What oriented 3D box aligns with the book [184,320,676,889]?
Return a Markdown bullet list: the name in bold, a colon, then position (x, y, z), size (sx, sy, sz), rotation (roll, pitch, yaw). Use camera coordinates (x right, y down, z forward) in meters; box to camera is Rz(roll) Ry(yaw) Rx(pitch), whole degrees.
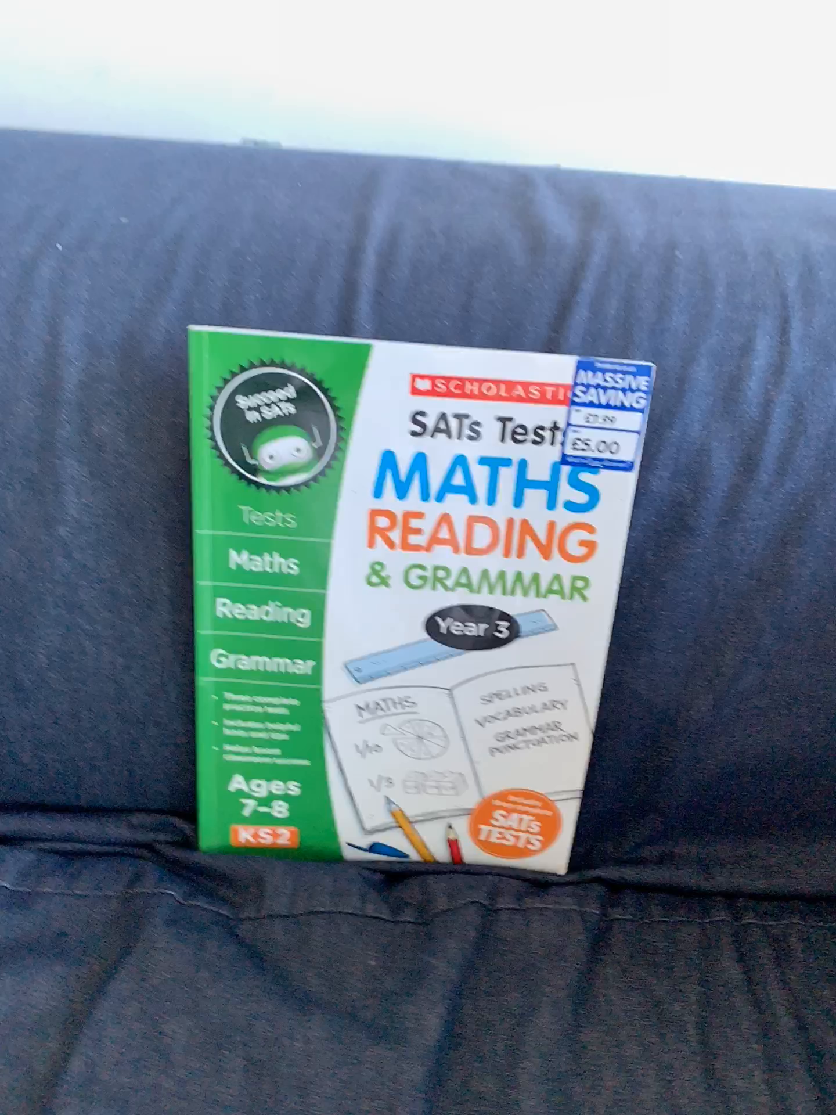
- **book**: position (-0.004, 0.040, 0.432), size (0.209, 0.293, 0.022), rotation (4, 23, -2)
